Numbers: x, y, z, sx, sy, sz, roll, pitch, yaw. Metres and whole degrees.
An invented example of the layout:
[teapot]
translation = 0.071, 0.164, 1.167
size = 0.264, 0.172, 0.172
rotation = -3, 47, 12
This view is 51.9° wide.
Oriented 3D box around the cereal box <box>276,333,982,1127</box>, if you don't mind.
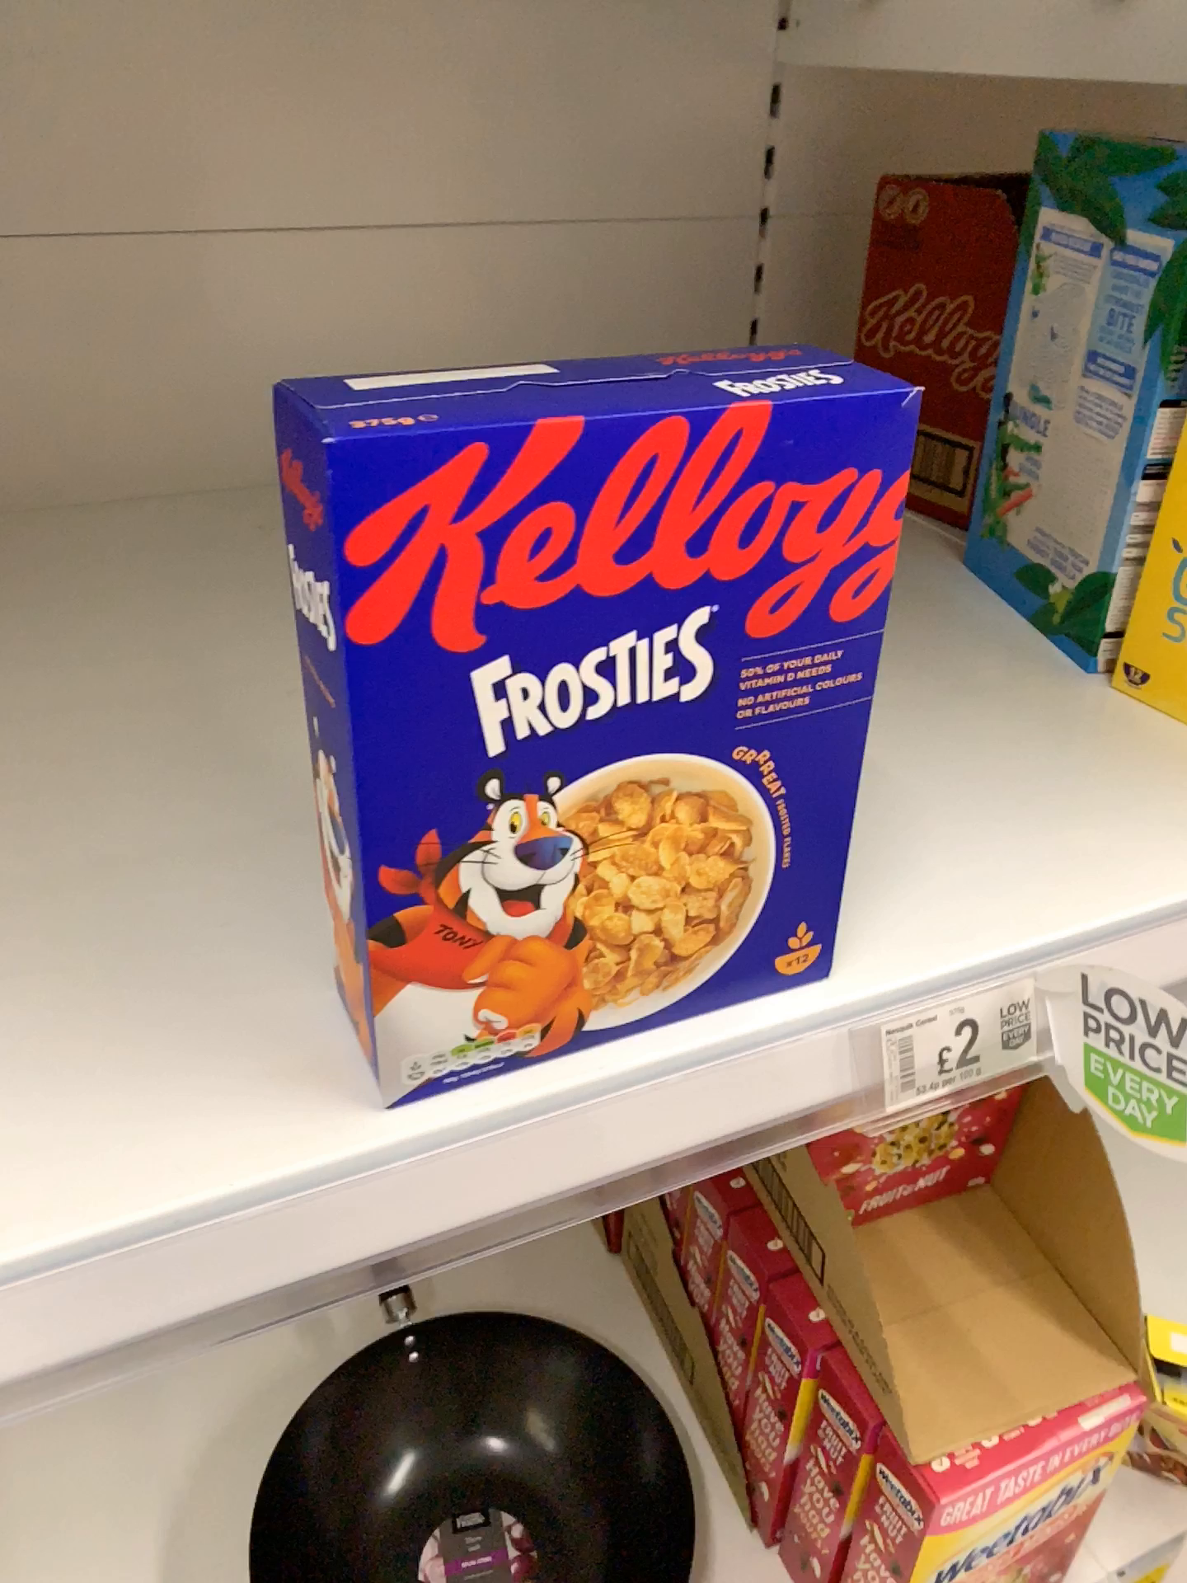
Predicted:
[cereal box]
translation = 0.009, -0.024, 0.431
size = 0.200, 0.238, 0.081
rotation = -12, 34, -22
